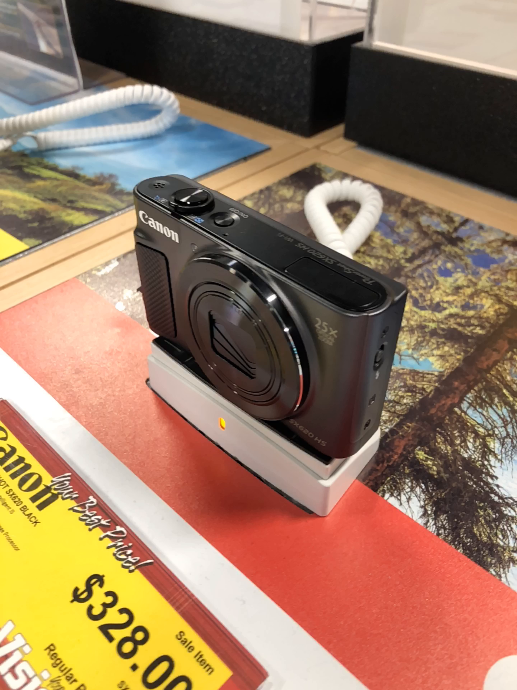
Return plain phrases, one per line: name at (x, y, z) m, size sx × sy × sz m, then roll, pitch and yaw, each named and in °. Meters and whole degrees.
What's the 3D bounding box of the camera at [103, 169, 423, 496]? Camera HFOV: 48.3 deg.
camera at (-0.004, -0.009, 0.185) m, size 0.030 × 0.060 × 0.100 m, roll -32°, pitch 50°, yaw -32°
